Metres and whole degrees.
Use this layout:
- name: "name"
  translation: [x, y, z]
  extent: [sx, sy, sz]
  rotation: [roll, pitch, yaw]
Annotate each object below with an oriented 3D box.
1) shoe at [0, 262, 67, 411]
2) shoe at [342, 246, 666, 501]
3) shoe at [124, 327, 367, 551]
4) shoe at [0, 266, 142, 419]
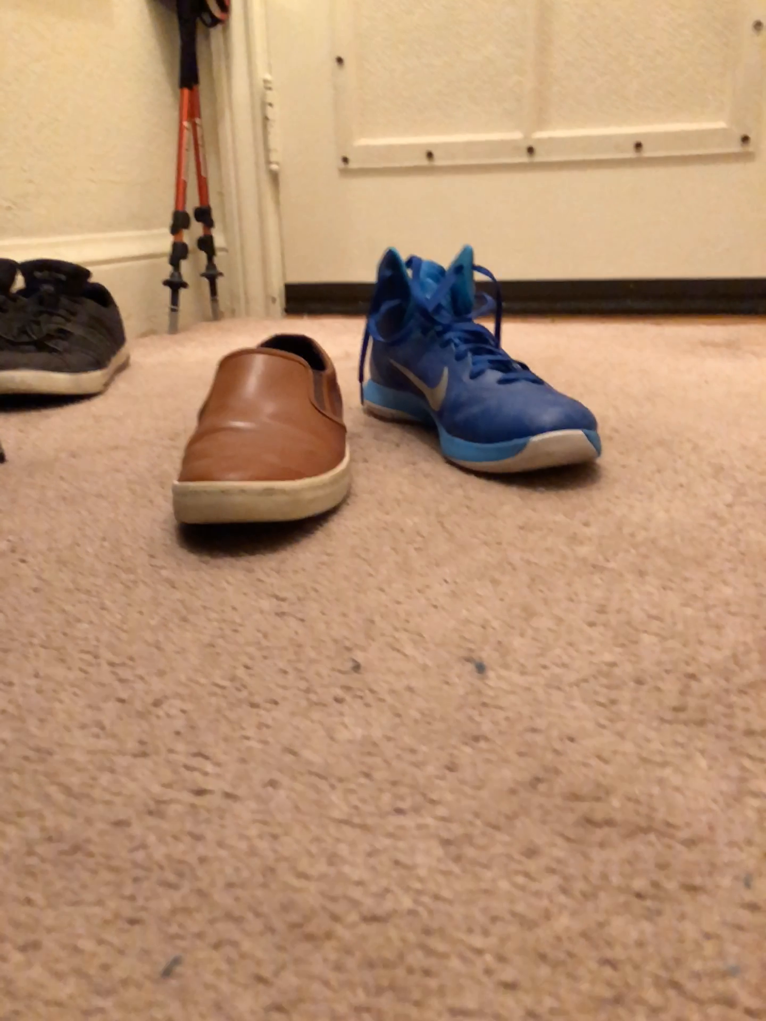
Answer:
- name: "shoe"
  translation: [-0.450, -0.200, 0.914]
  extent: [0.115, 0.113, 0.293]
  rotation: [-3, 20, -4]
- name: "shoe"
  translation: [0.074, -0.128, 0.668]
  extent: [0.115, 0.142, 0.293]
  rotation: [-9, 21, -20]
- name: "shoe"
  translation: [-0.075, -0.065, 0.588]
  extent: [0.105, 0.083, 0.283]
  rotation: [0, 20, 4]
- name: "shoe"
  translation: [-0.348, -0.190, 0.895]
  extent: [0.115, 0.113, 0.293]
  rotation: [-3, 20, -4]
